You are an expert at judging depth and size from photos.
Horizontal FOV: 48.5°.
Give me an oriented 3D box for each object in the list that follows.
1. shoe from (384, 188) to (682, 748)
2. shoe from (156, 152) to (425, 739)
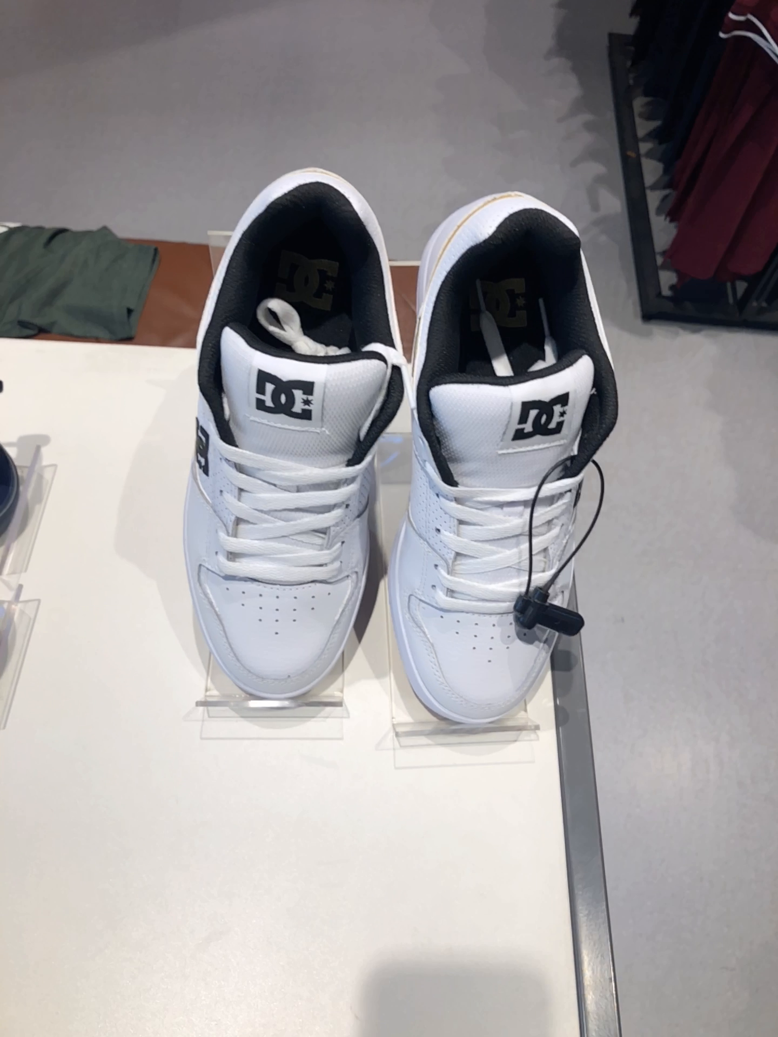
[{"bbox_3d":[0.056,-0.025,0.421,0.095,0.249,0.102,1,20,-7],"label":"shoe"},{"bbox_3d":[-0.050,-0.034,0.426,0.103,0.259,0.102,5,21,-3],"label":"shoe"}]
